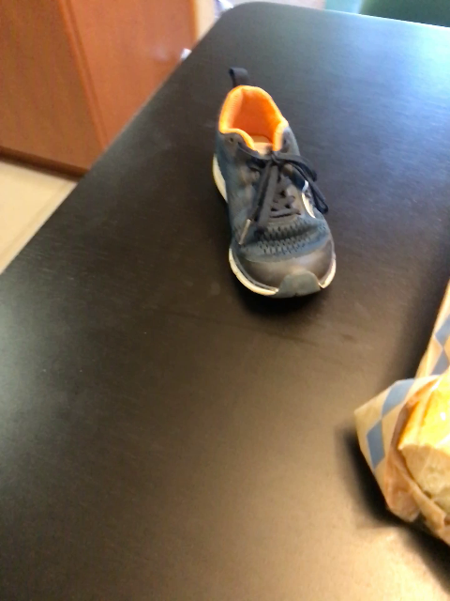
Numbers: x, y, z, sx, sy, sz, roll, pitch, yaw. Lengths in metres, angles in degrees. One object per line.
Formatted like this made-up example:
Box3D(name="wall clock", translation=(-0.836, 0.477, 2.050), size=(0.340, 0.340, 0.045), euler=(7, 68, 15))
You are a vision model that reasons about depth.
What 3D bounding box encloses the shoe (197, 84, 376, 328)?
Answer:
Box3D(name="shoe", translation=(0.037, -0.082, 0.386), size=(0.084, 0.072, 0.187), euler=(-10, 54, -5))
